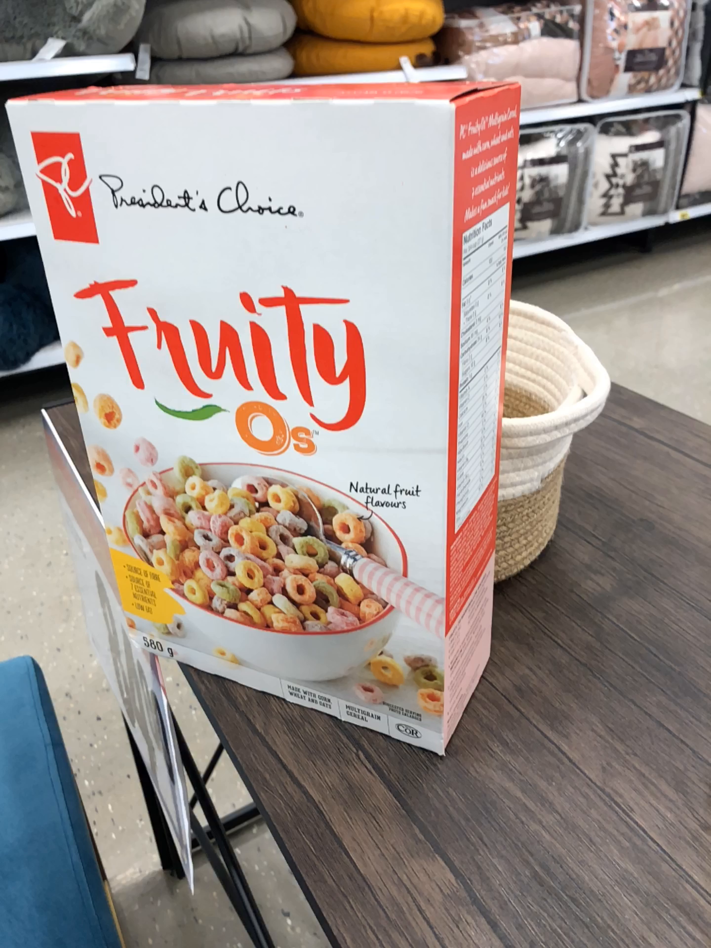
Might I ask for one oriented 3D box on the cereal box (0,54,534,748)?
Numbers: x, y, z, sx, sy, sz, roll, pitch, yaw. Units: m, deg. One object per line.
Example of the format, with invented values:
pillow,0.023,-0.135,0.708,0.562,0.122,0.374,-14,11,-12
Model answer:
cereal box,-0.045,-0.034,0.371,0.220,0.279,0.080,12,33,24
